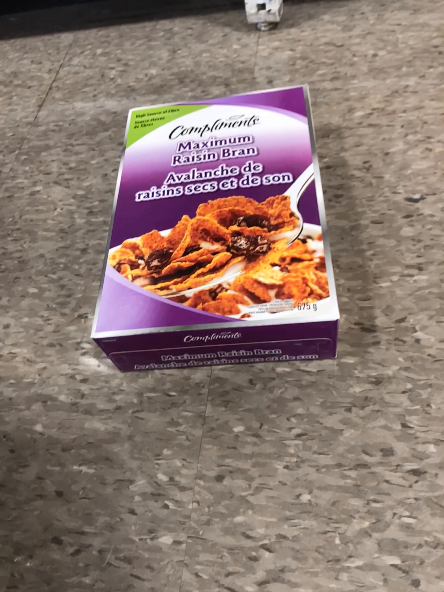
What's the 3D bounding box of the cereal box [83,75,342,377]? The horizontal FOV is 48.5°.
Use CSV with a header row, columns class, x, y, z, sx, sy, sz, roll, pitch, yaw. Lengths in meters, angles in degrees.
class,x,y,z,sx,sy,sz,roll,pitch,yaw
cereal box,-0.003,-0.083,0.490,0.200,0.070,0.311,-5,55,9
